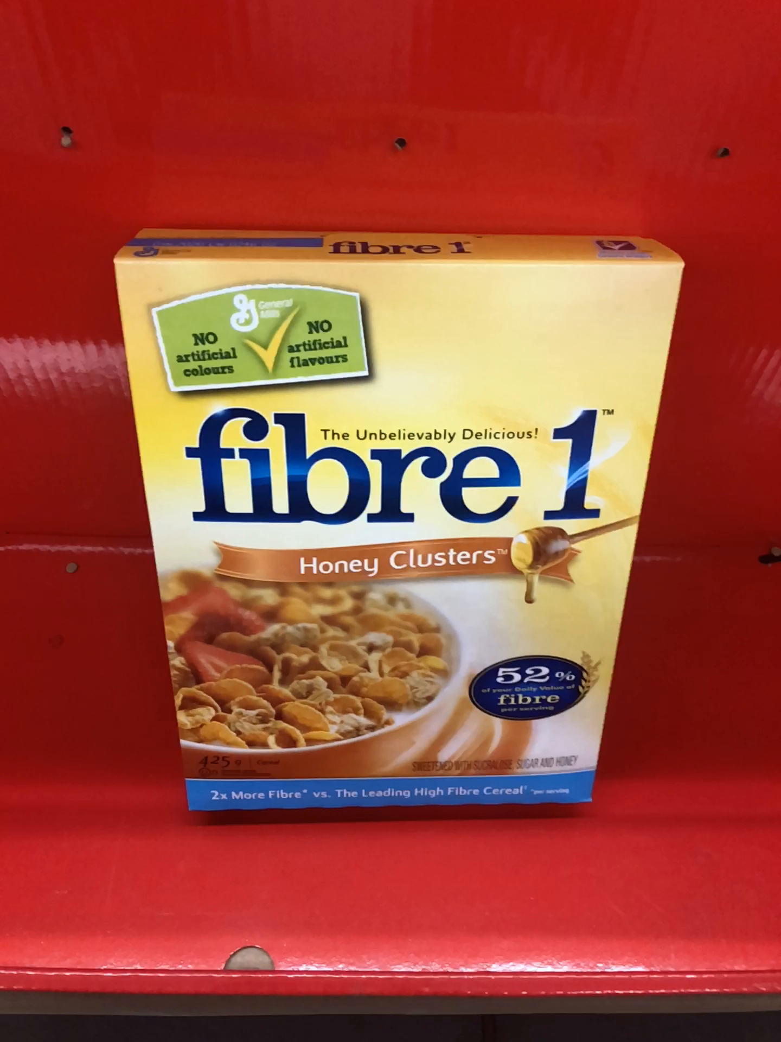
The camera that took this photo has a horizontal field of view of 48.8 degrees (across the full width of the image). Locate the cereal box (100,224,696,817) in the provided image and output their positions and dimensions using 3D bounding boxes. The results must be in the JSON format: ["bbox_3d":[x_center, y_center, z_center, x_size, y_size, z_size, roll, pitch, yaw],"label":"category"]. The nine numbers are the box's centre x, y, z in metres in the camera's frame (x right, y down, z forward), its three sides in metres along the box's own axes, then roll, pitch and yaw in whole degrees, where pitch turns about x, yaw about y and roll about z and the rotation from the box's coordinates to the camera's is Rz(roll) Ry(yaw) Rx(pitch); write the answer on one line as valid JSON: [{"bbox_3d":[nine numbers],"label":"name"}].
[{"bbox_3d":[0.001,0.011,0.391,0.210,0.269,0.060,0,27,-2],"label":"cereal box"}]
